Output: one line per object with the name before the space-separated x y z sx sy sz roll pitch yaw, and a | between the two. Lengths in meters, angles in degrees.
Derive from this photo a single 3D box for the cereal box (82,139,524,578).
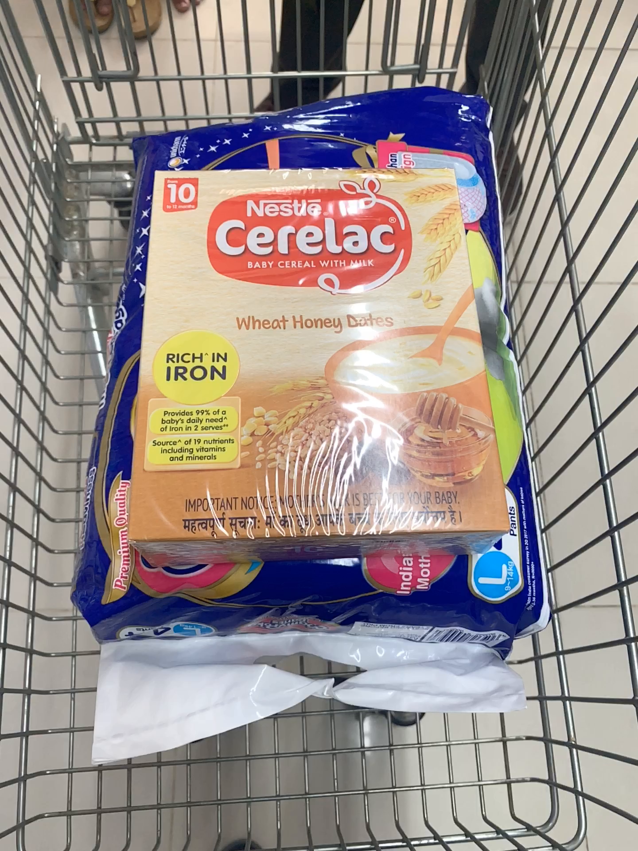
cereal box | -0.010 -0.035 0.302 0.160 0.060 0.190 -2 68 -2
